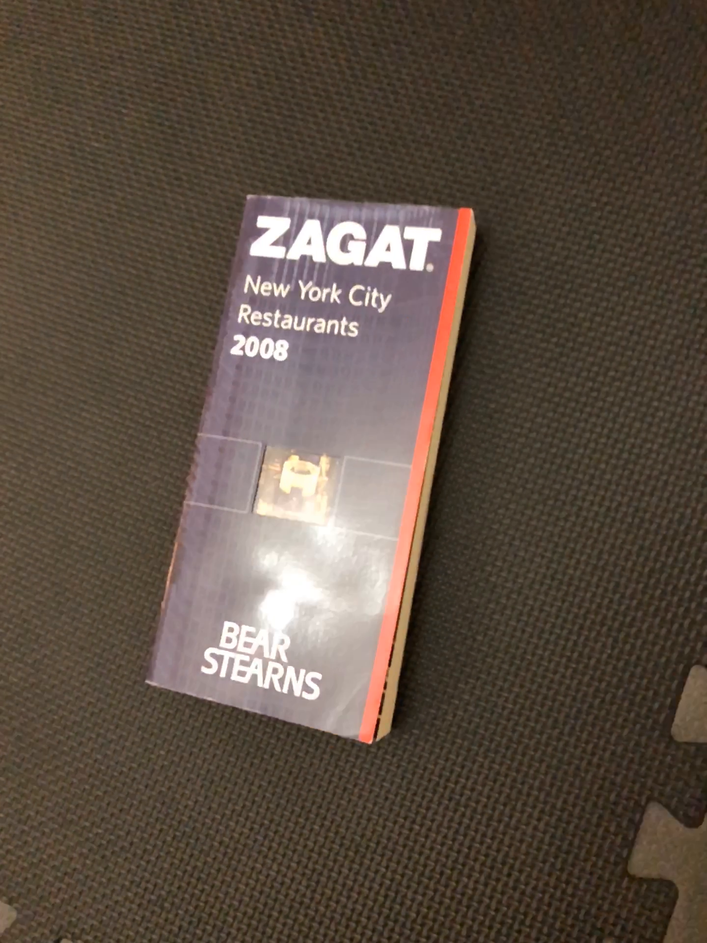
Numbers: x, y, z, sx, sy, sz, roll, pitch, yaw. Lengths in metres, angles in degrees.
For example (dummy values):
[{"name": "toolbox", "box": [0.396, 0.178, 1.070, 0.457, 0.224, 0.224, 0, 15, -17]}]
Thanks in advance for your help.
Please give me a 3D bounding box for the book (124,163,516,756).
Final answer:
[{"name": "book", "box": [-0.011, -0.012, 0.323, 0.120, 0.030, 0.220, 9, 84, 14]}]
